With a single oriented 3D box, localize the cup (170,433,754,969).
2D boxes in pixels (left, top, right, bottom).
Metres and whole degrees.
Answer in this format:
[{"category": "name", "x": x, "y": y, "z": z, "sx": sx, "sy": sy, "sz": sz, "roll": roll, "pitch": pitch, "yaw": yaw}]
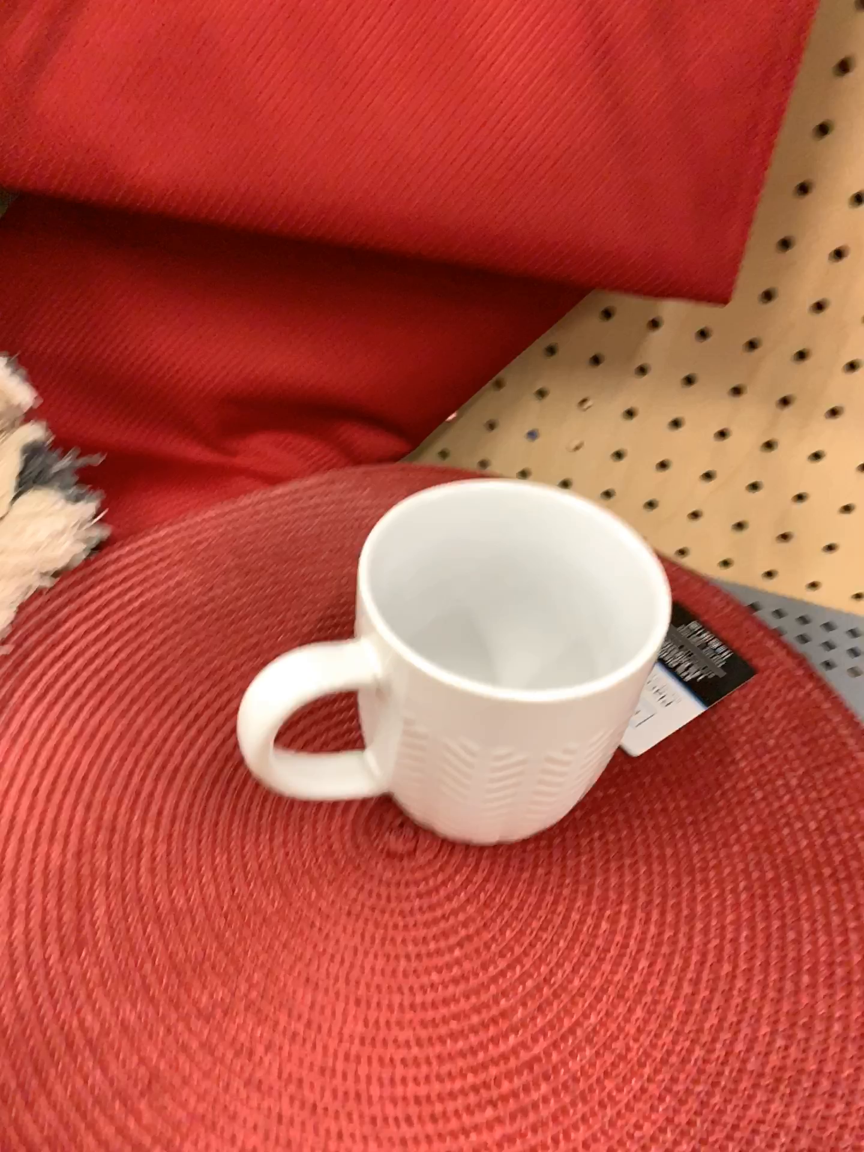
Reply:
[{"category": "cup", "x": 0.006, "y": 0.028, "z": 0.286, "sx": 0.140, "sy": 0.090, "sz": 0.100, "roll": -17, "pitch": 37, "yaw": -23}]
